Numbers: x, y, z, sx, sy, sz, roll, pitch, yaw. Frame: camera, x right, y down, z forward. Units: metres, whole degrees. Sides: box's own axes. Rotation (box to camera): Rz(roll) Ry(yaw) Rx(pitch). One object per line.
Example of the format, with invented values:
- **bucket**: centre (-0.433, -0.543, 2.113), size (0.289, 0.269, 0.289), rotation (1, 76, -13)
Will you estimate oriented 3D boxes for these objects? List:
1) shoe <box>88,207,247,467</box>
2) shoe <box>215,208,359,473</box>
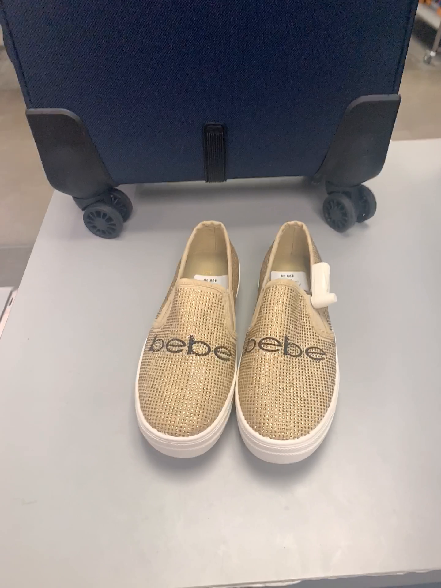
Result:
- **shoe**: centre (-0.030, 0.024, 0.407), size (0.093, 0.086, 0.223), rotation (2, 47, 6)
- **shoe**: centre (0.056, 0.027, 0.401), size (0.093, 0.086, 0.223), rotation (2, 47, 6)
